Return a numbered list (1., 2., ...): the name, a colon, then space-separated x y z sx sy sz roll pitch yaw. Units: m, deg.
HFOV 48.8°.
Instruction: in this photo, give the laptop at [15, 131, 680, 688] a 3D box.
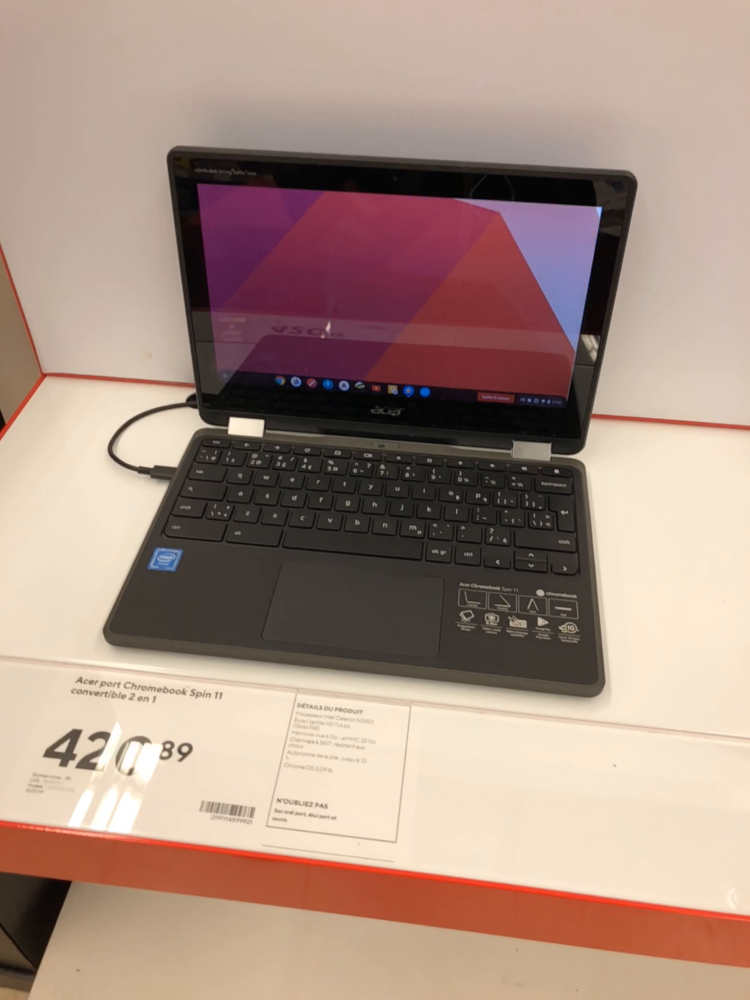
1. laptop: -0.004 -0.066 0.509 0.289 0.198 0.253 5 46 5
